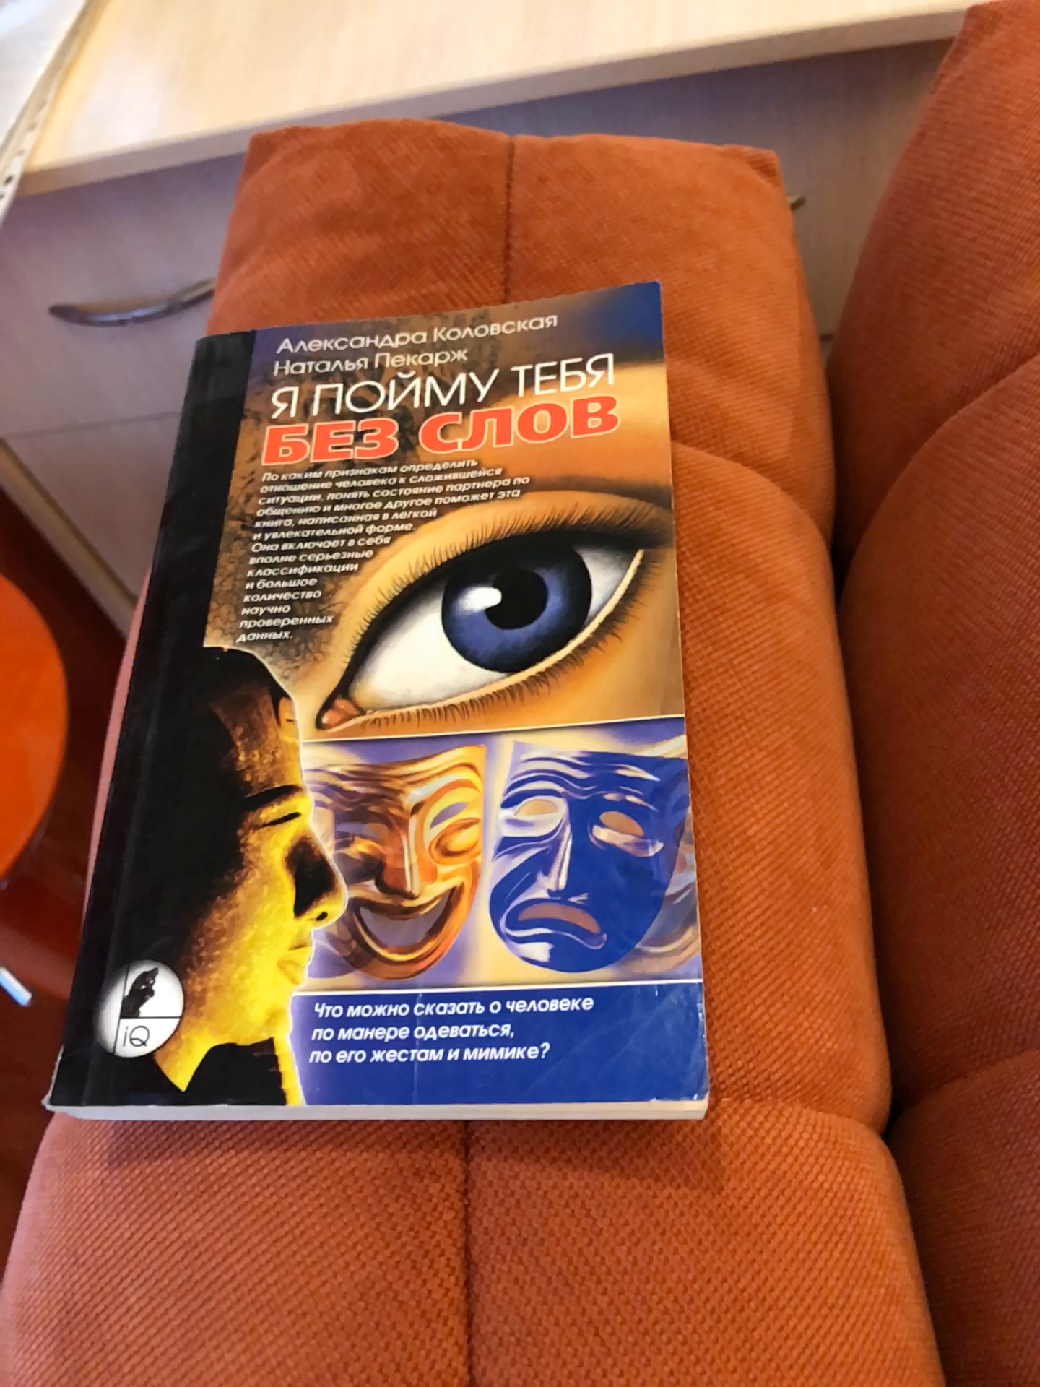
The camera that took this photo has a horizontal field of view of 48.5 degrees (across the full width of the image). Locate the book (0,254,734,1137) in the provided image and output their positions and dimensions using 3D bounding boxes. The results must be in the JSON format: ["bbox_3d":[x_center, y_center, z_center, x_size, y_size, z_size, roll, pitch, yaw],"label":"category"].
[{"bbox_3d":[-0.026,-0.007,0.250,0.128,0.030,0.191,-4,62,10],"label":"book"}]
